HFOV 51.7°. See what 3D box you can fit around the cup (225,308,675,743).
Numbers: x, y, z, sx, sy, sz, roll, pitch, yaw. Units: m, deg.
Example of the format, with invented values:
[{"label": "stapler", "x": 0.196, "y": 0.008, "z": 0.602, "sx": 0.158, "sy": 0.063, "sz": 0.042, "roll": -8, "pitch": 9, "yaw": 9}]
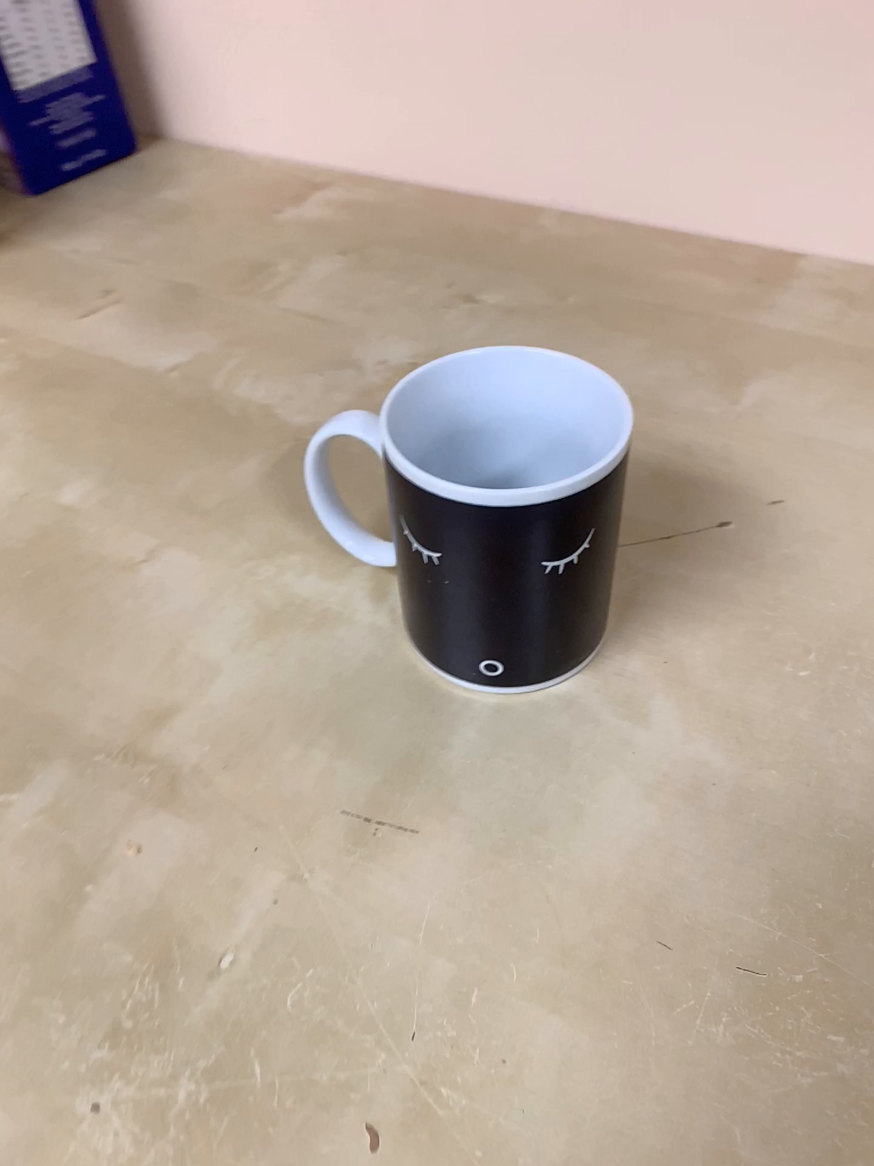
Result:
[{"label": "cup", "x": 0.008, "y": -0.023, "z": 0.325, "sx": 0.122, "sy": 0.101, "sz": 0.084, "roll": 16, "pitch": 48, "yaw": 18}]
